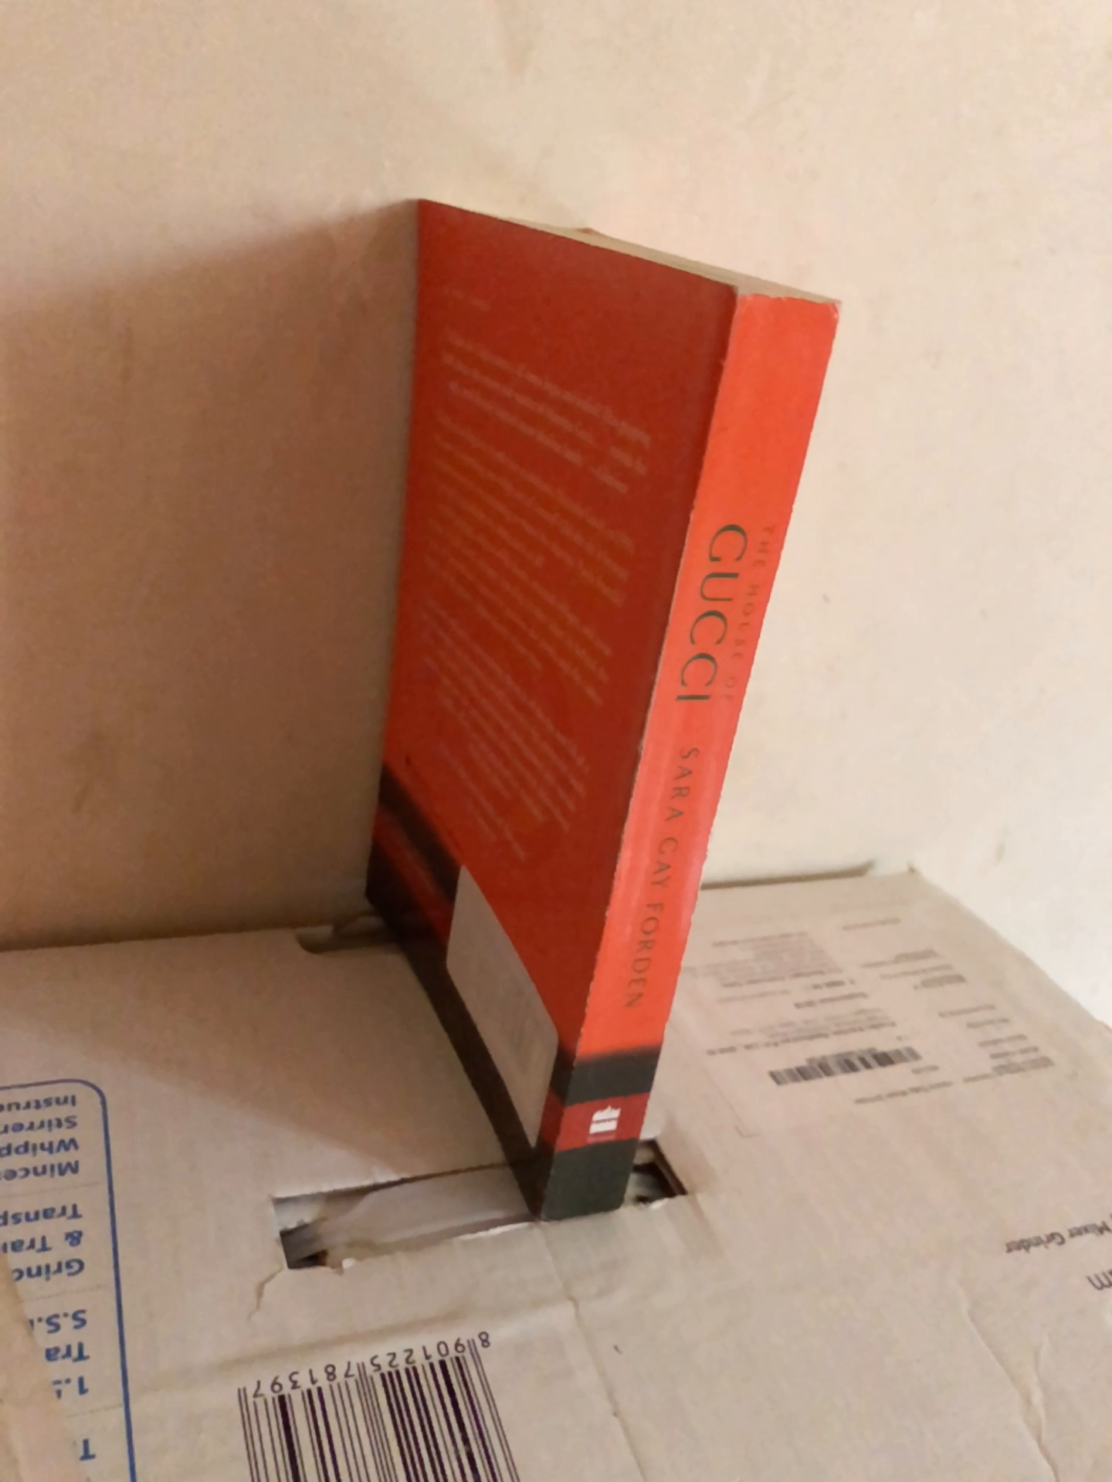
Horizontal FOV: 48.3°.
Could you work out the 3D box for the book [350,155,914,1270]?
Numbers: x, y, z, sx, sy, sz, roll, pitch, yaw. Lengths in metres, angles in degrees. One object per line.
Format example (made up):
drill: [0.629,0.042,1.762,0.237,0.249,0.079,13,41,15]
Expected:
book: [-0.007,-0.020,0.331,0.040,0.229,0.191,1,28,-21]
